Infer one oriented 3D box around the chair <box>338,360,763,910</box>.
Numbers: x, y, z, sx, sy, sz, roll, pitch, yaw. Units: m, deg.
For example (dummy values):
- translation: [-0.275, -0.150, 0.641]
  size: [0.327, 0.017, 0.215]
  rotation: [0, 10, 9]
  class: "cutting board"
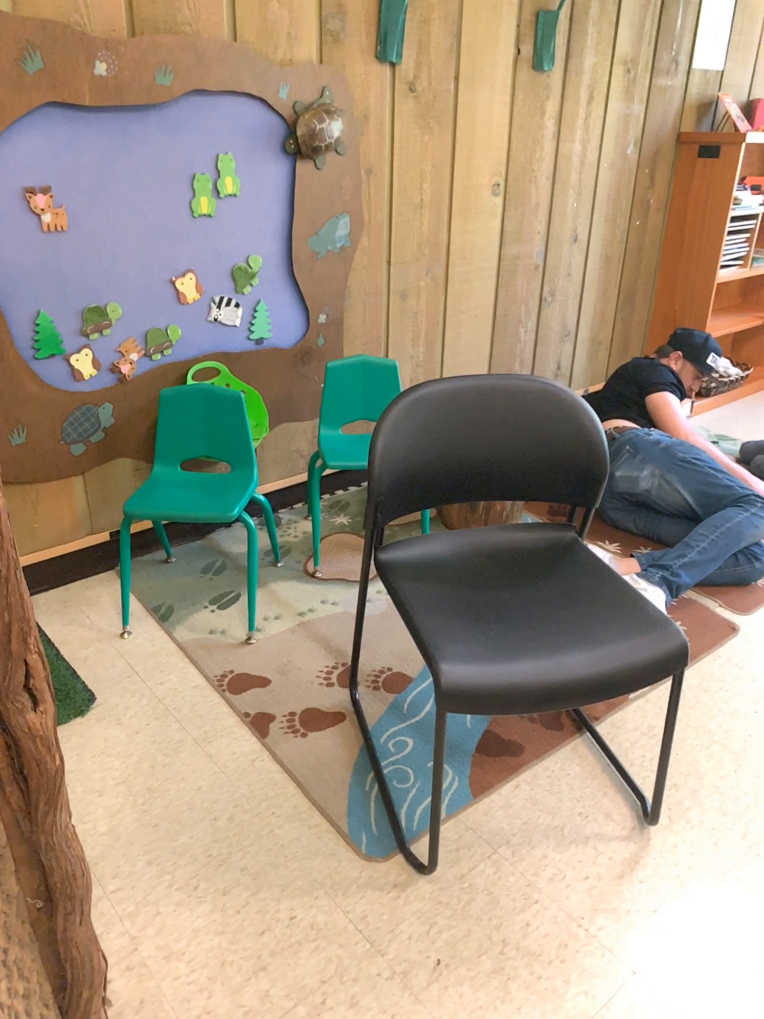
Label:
- translation: [0.265, 0.189, 1.508]
  size: [0.590, 0.786, 0.573]
  rotation: [-6, 26, -14]
  class: "chair"
